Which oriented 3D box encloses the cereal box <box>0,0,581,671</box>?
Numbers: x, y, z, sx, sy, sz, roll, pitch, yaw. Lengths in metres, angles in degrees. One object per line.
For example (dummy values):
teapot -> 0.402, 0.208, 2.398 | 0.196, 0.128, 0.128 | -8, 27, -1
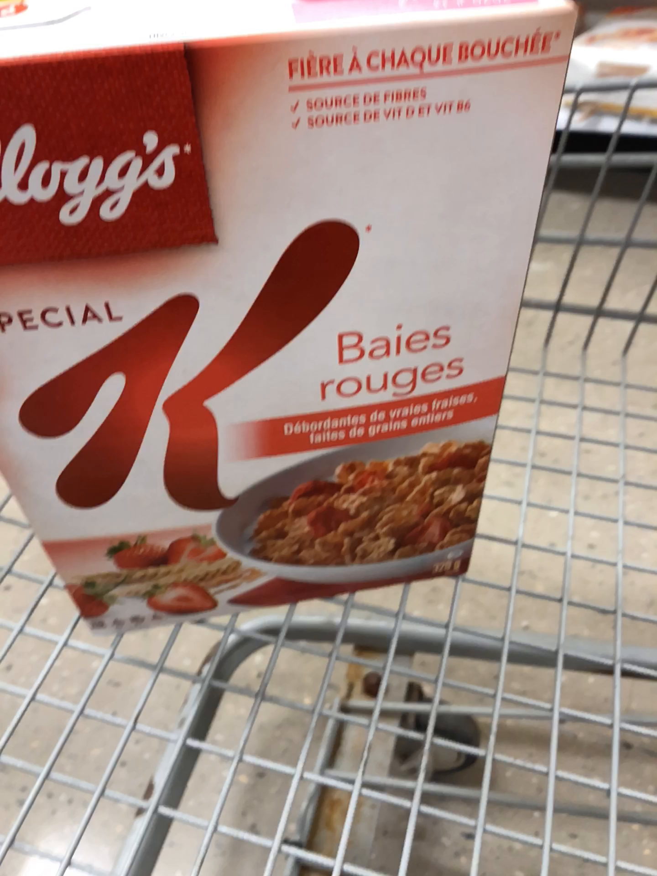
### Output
cereal box -> -0.039, -0.016, 0.284 | 0.210, 0.269, 0.050 | -8, 45, -4
